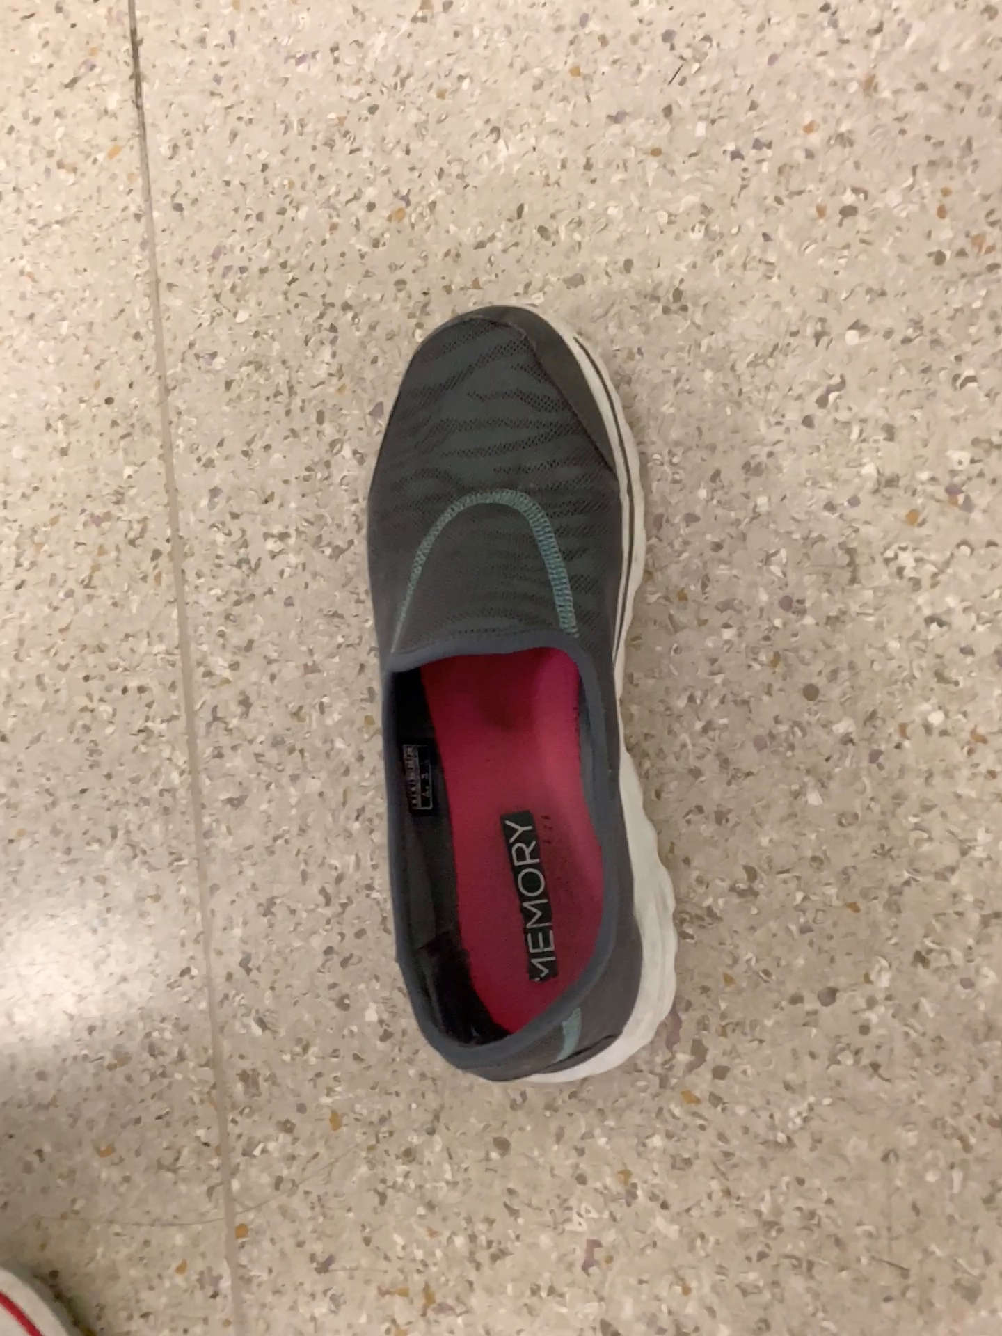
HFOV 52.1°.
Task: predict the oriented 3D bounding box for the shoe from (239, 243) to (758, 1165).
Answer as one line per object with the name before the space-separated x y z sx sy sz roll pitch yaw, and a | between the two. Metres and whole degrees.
shoe | -0.001 0.013 0.317 0.103 0.075 0.239 -13 81 20
